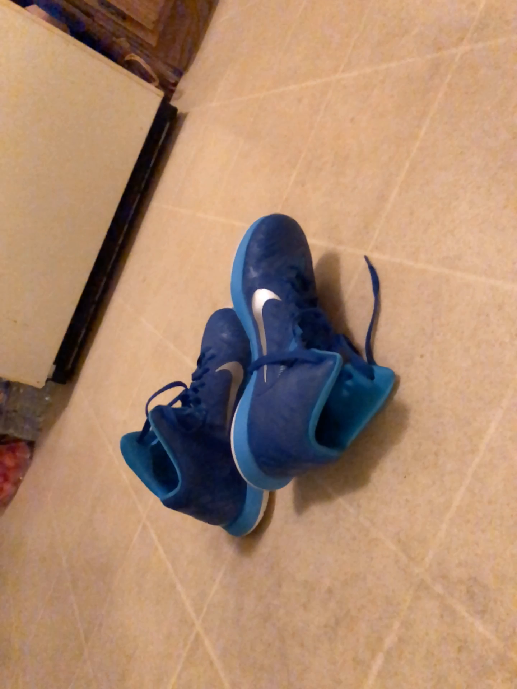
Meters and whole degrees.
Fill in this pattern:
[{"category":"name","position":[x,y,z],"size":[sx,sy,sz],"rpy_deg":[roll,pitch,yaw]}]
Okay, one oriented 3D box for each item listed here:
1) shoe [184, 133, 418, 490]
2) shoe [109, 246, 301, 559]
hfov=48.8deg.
[{"category":"shoe","position":[0.039,-0.024,0.546],"size":[0.160,0.119,0.282],"rpy_deg":[-25,51,43]},{"category":"shoe","position":[-0.064,0.061,0.650],"size":[0.120,0.144,0.311],"rpy_deg":[-42,40,38]}]
